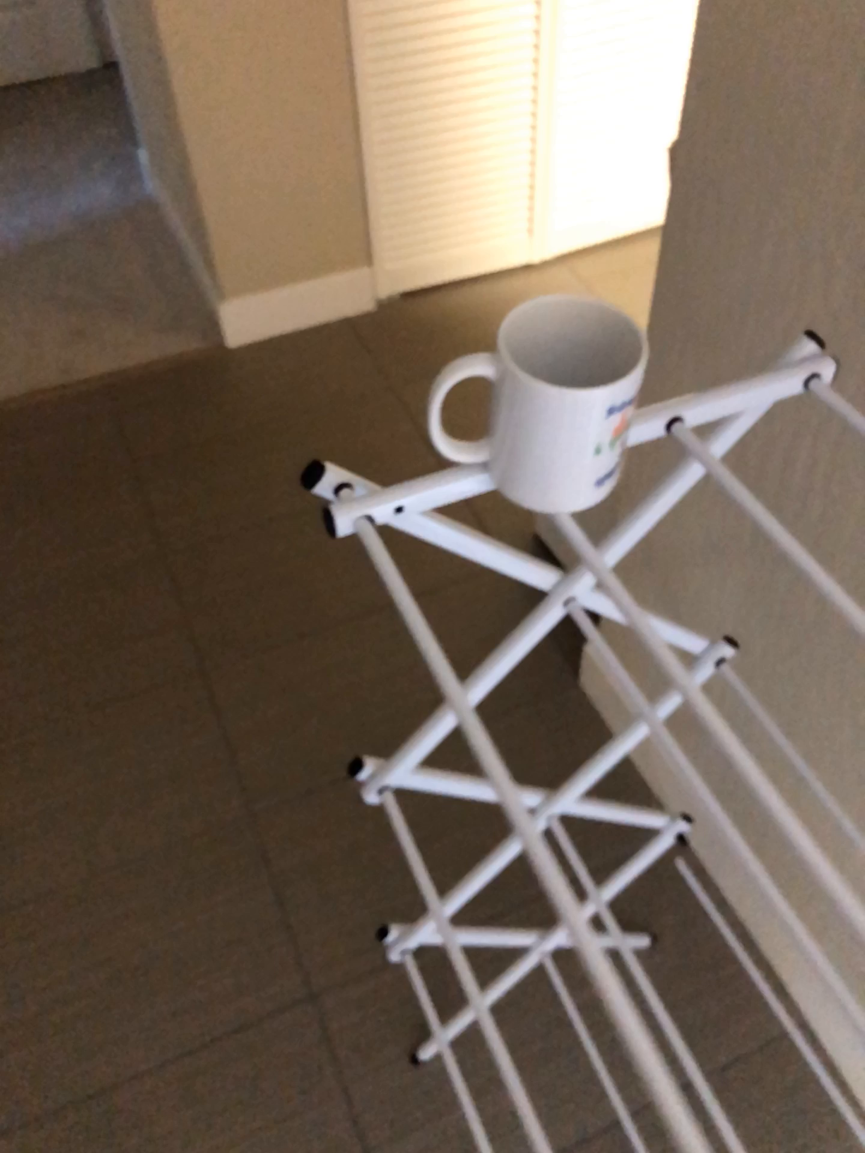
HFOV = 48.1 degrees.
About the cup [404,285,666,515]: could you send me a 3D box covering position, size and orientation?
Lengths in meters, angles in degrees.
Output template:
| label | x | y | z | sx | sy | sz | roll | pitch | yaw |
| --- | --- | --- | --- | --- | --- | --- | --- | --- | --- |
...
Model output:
| label | x | y | z | sx | sy | sz | roll | pitch | yaw |
| --- | --- | --- | --- | --- | --- | --- | --- | --- | --- |
| cup | 0.049 | -0.098 | 0.545 | 0.130 | 0.090 | 0.090 | 0 | 52 | -2 |
